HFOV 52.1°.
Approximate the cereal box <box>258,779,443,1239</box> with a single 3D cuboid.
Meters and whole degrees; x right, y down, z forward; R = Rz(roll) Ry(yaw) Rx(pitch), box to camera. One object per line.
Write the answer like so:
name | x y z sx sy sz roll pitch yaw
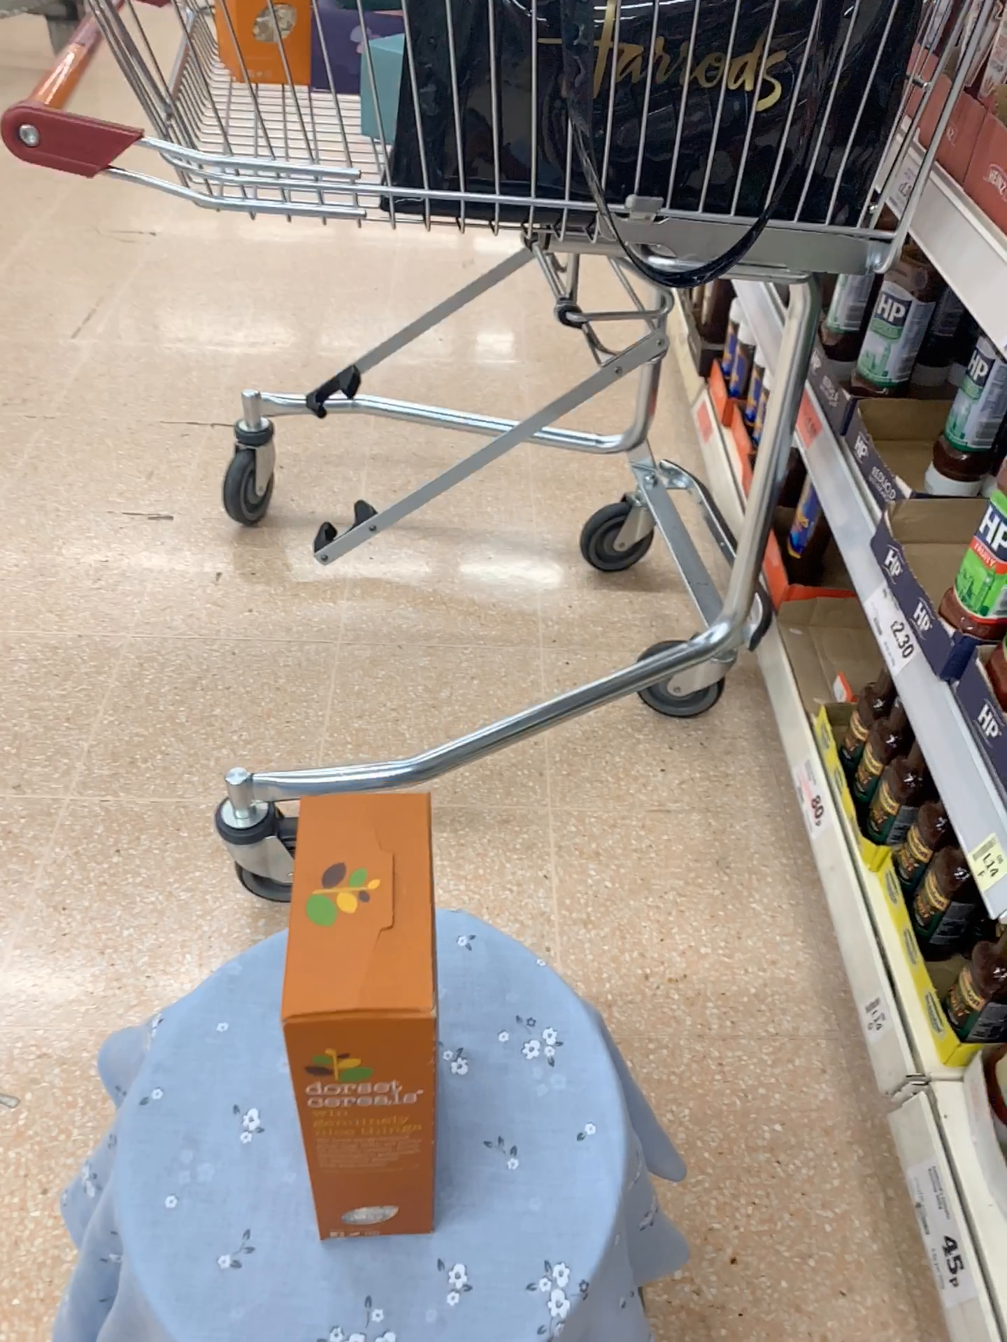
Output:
cereal box | -0.069 0.176 0.516 0.070 0.228 0.121 -1 43 -6
